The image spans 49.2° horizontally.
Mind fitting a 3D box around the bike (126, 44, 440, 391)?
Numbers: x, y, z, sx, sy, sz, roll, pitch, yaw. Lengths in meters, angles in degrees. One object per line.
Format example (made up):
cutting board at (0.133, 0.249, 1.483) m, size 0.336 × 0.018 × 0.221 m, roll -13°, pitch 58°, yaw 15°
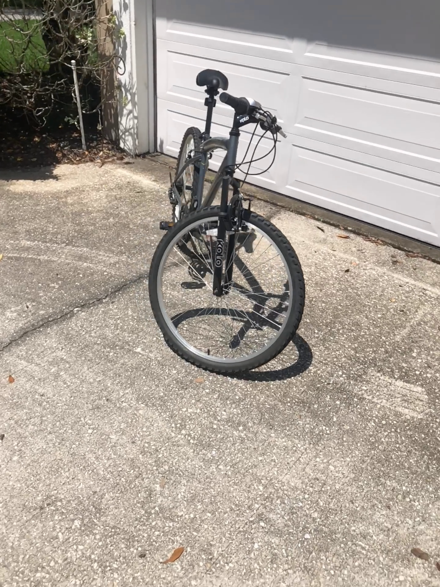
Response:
bike at (0.093, -0.477, 2.306) m, size 0.679 × 0.980 × 1.538 m, roll -8°, pitch 37°, yaw -19°
